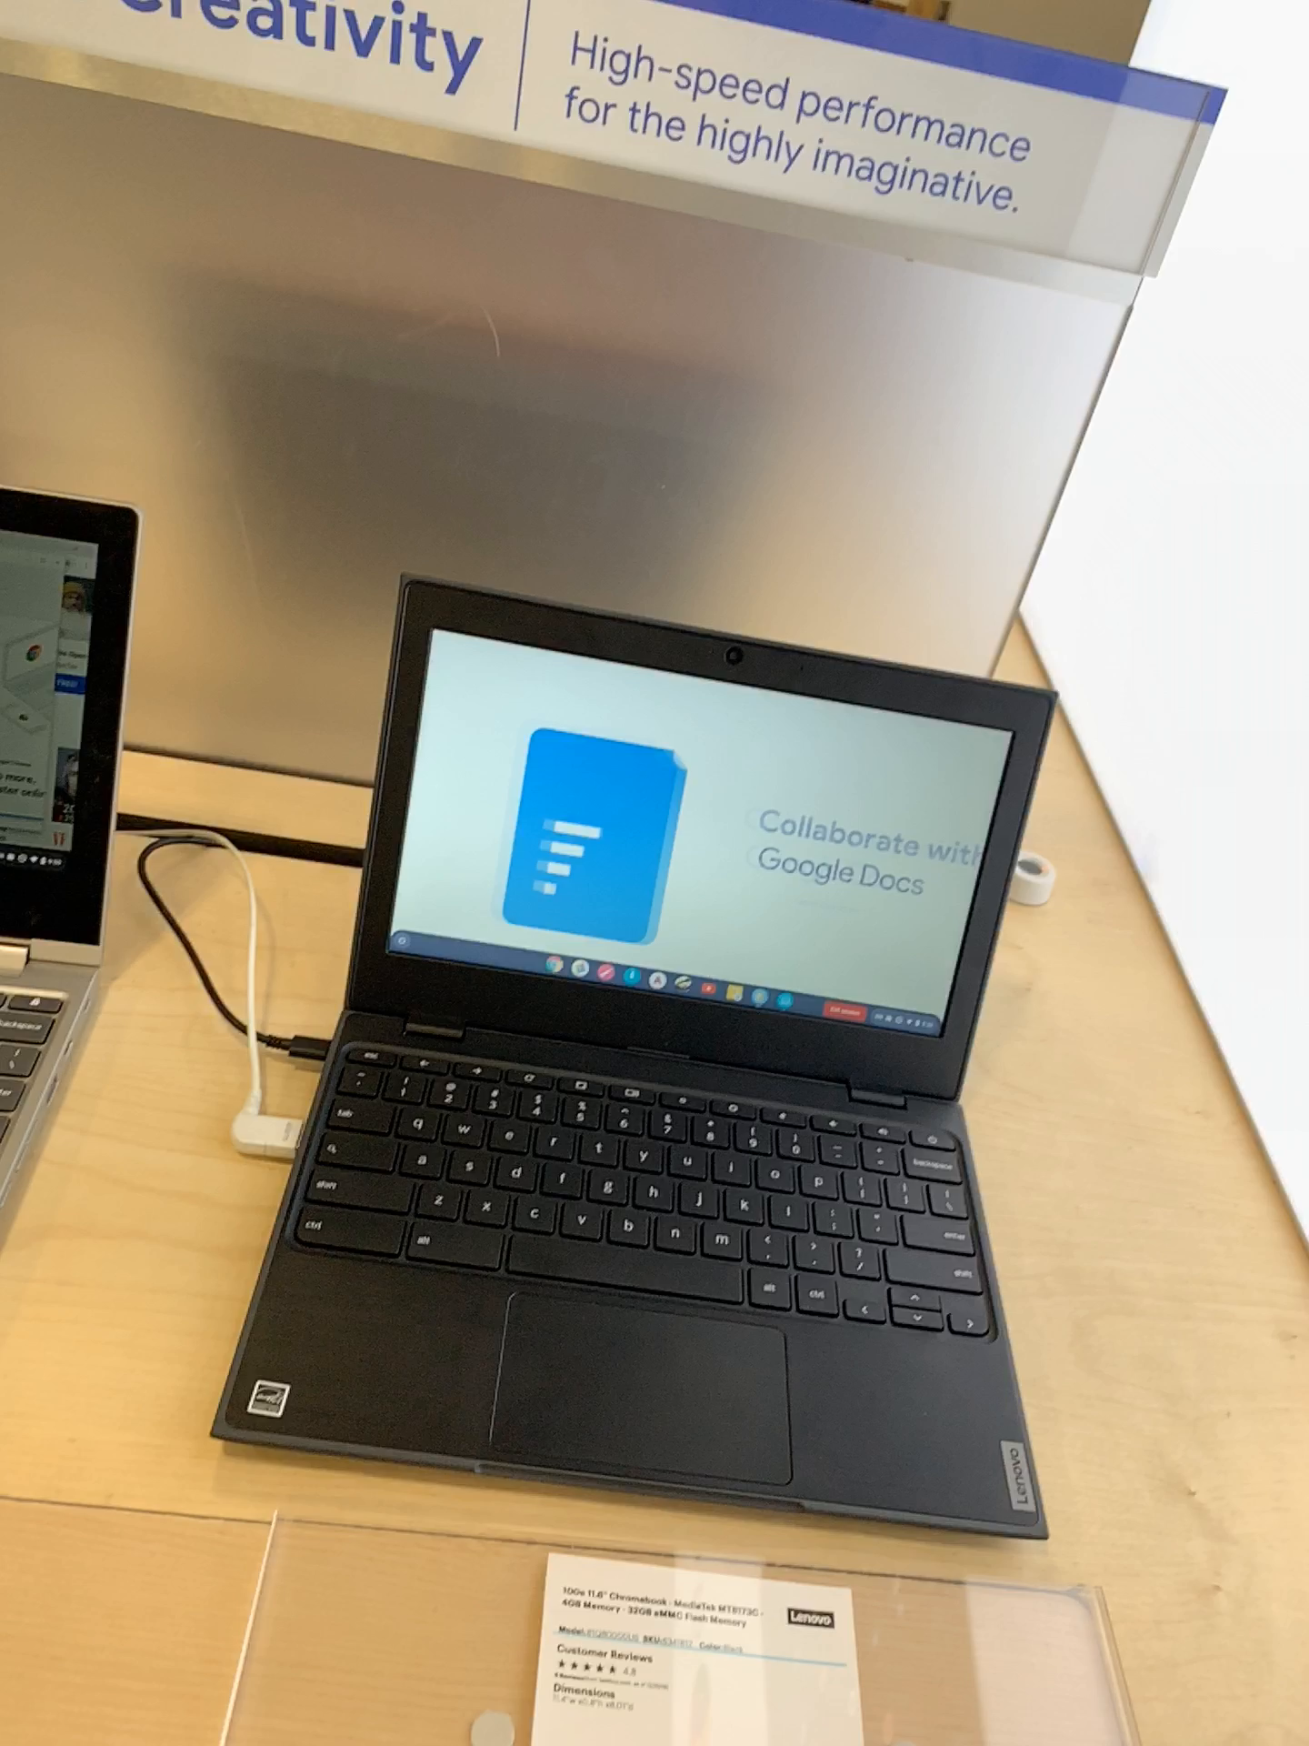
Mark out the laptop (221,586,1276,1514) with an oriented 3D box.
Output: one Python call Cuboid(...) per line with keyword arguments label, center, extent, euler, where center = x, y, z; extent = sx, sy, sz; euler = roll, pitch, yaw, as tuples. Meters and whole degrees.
Cuboid(label="laptop", center=(0.019, 0.050, 0.502), extent=(0.275, 0.170, 0.267), euler=(9, 37, -4))
